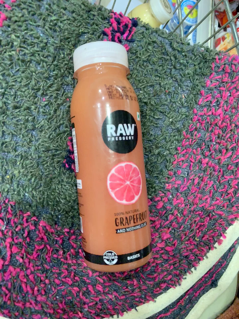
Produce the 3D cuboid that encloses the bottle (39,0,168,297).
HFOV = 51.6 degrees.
[{"bbox_3d":[-0.017,-0.009,0.168,0.060,0.060,0.160,-4,87,-20],"label":"bottle"}]
